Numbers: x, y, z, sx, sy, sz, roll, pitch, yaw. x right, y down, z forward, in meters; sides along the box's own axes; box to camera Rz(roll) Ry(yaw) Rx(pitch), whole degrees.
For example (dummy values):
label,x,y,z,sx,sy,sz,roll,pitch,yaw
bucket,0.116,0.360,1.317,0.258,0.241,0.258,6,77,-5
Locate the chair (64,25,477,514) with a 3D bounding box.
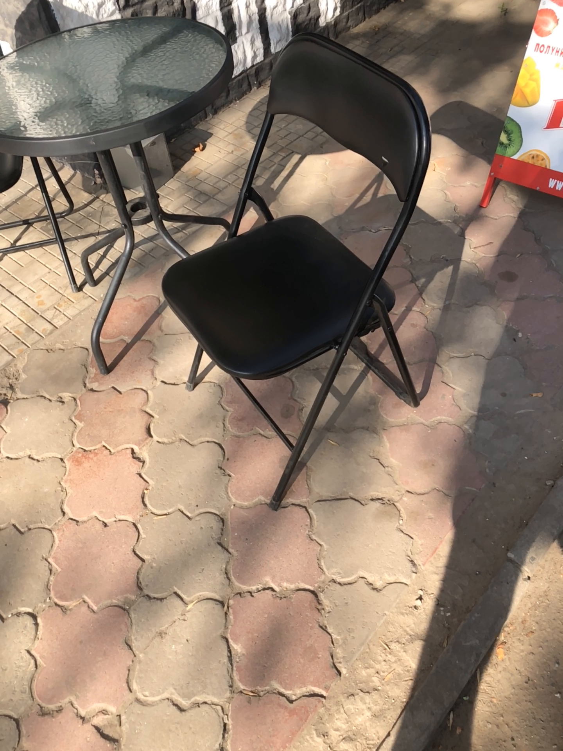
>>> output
label,x,y,z,sx,sy,sz,roll,pitch,yaw
chair,-0.004,-0.200,1.252,0.470,0.697,0.501,-30,51,-18
